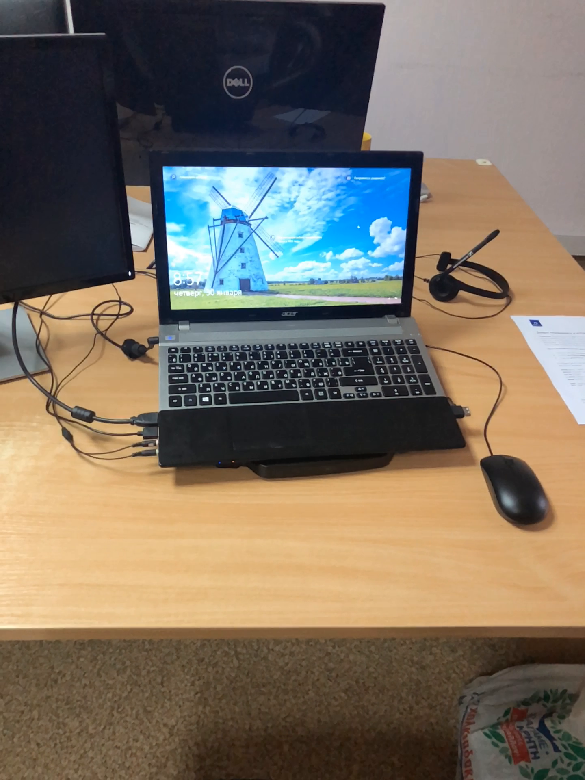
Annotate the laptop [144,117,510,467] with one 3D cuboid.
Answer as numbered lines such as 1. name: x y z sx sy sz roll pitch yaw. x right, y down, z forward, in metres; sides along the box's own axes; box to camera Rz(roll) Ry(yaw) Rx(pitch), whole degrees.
1. laptop: 0.010 -0.142 0.817 0.374 0.211 0.361 -3 47 -10
